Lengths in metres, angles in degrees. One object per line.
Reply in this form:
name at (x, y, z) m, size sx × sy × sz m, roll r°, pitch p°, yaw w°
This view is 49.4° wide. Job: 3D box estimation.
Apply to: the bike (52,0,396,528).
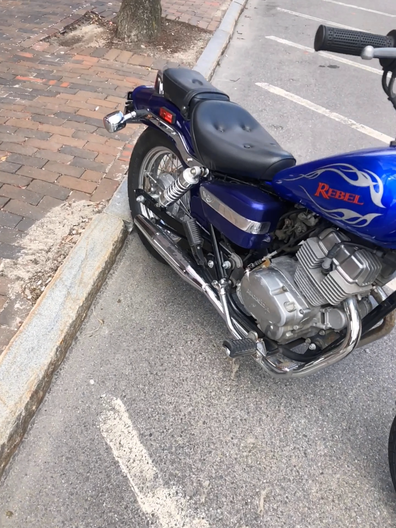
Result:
bike at (0.447, -0.188, 1.203) m, size 0.790 × 1.036 × 1.913 m, roll -23°, pitch 44°, yaw -30°
